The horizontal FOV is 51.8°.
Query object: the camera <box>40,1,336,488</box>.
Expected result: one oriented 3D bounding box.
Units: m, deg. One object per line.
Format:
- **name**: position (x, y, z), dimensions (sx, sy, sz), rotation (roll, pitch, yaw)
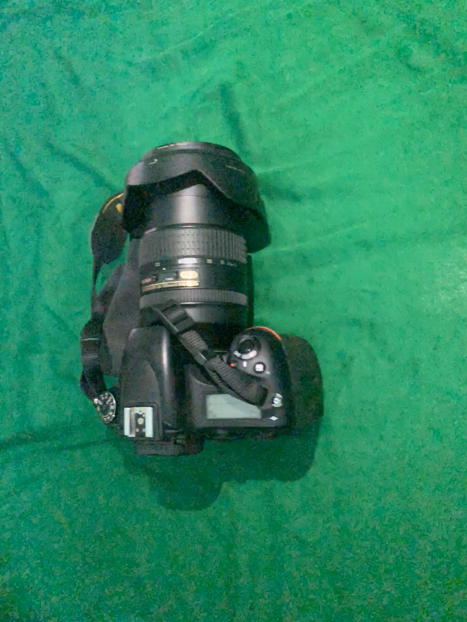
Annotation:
- **camera**: position (-0.028, -0.036, 0.352), dimensions (0.170, 0.100, 0.290), rotation (-6, 76, 26)
